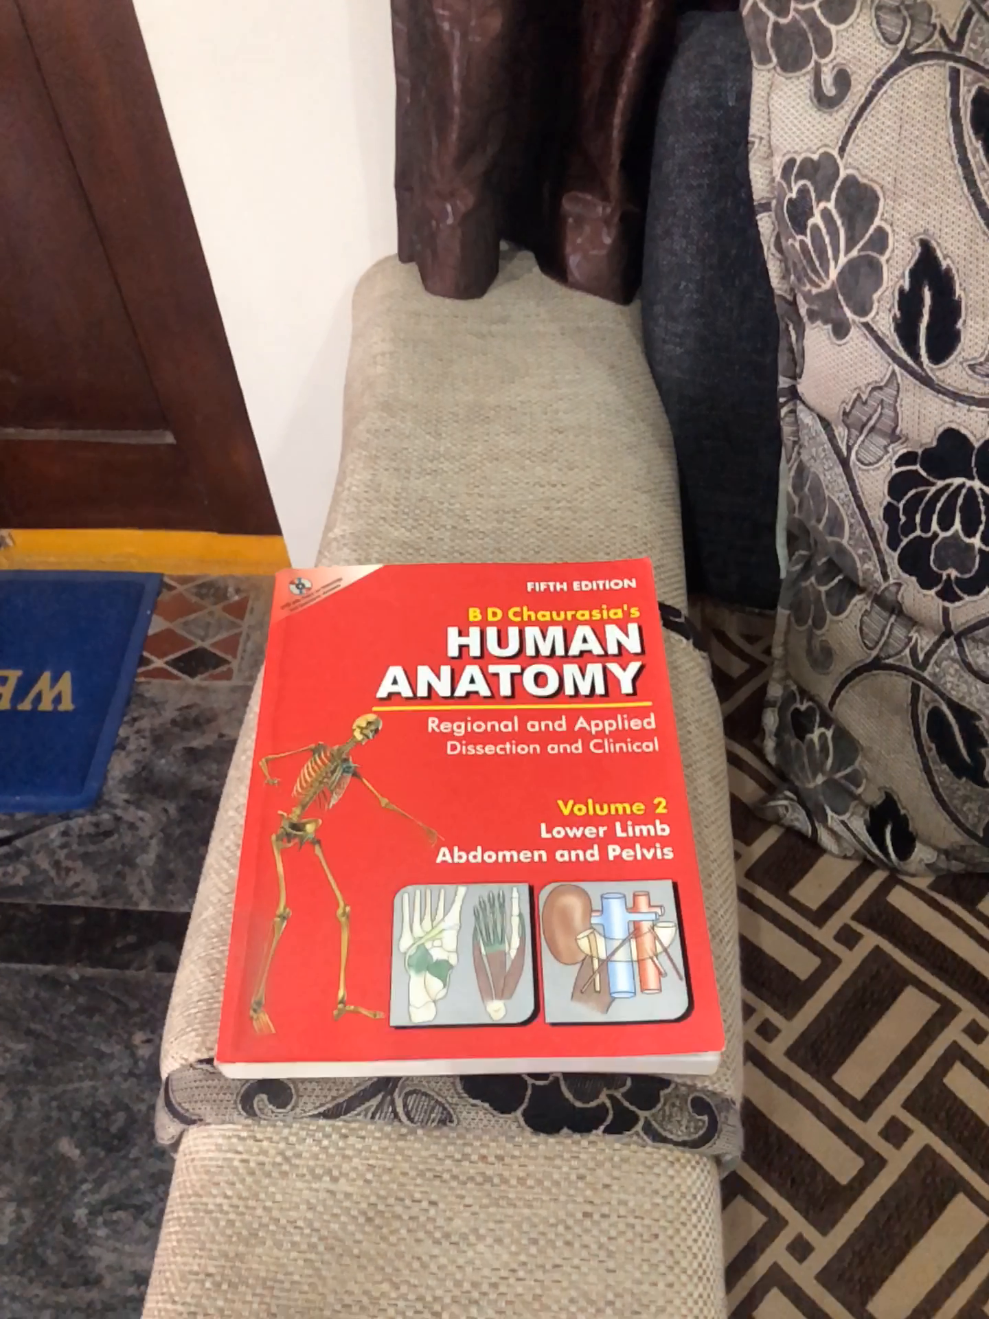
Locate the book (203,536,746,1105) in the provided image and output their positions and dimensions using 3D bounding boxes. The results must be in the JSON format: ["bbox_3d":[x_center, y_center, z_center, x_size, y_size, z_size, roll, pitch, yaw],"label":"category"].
[{"bbox_3d":[-0.011,0.062,0.544,0.220,0.040,0.291,-2,53,1],"label":"book"}]
